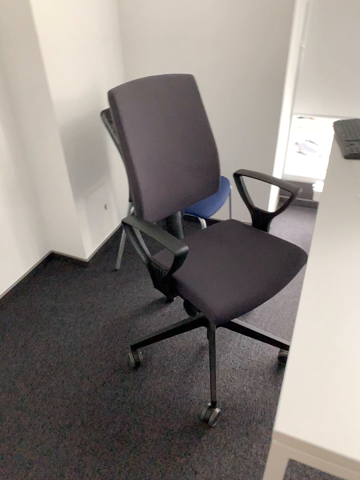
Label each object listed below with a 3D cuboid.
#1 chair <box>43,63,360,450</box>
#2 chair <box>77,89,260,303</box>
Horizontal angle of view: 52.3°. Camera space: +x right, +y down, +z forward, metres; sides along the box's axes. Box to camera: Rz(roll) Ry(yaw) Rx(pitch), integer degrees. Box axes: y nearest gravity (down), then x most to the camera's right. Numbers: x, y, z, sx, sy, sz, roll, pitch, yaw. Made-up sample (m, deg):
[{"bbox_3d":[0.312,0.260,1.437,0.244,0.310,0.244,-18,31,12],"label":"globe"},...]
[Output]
[{"bbox_3d":[0.101,-0.004,1.320,0.692,1.004,0.682,-29,43,-34],"label":"chair"},{"bbox_3d":[-0.008,-0.269,1.917,0.611,0.805,0.673,14,37,21],"label":"chair"}]
